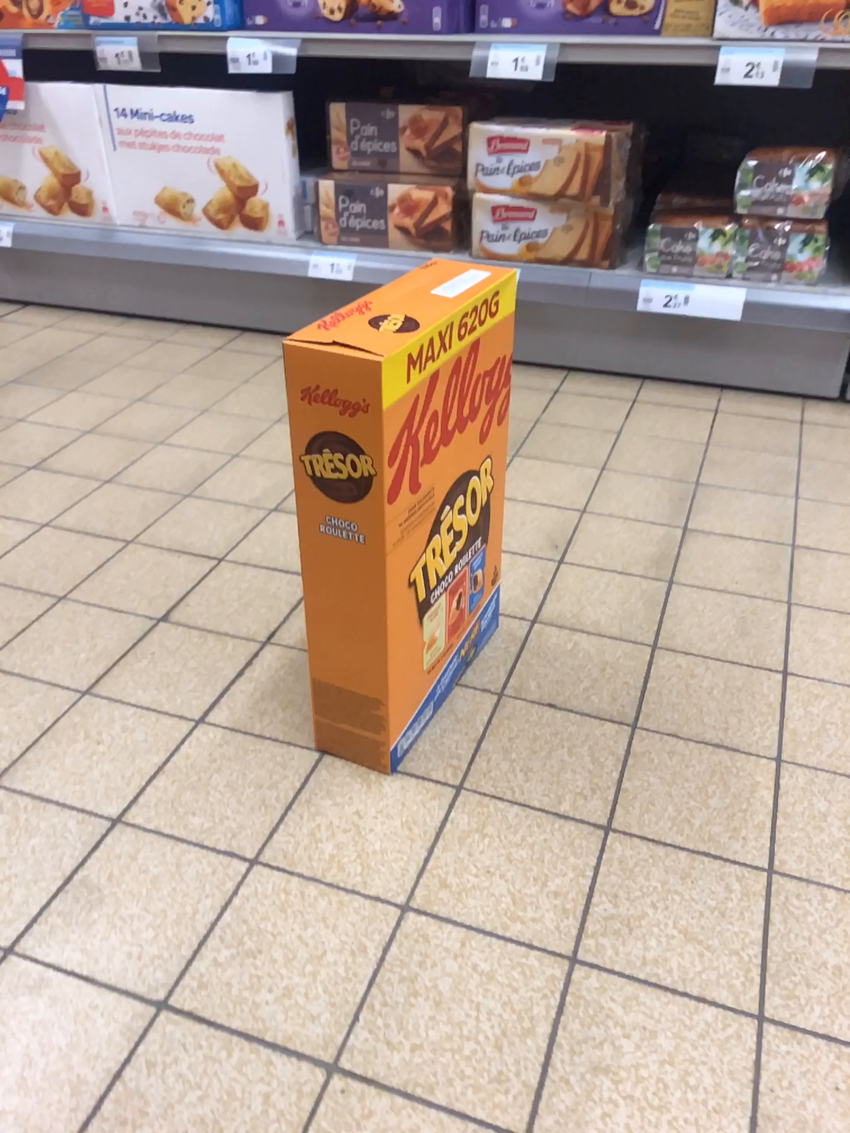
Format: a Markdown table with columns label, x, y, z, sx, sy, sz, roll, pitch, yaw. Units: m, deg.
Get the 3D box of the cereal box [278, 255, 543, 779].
| label | x | y | z | sx | sy | sz | roll | pitch | yaw |
| --- | --- | --- | --- | --- | --- | --- | --- | --- | --- |
| cereal box | 0.001 | -0.039 | 0.641 | 0.070 | 0.288 | 0.211 | 15 | 35 | 23 |
